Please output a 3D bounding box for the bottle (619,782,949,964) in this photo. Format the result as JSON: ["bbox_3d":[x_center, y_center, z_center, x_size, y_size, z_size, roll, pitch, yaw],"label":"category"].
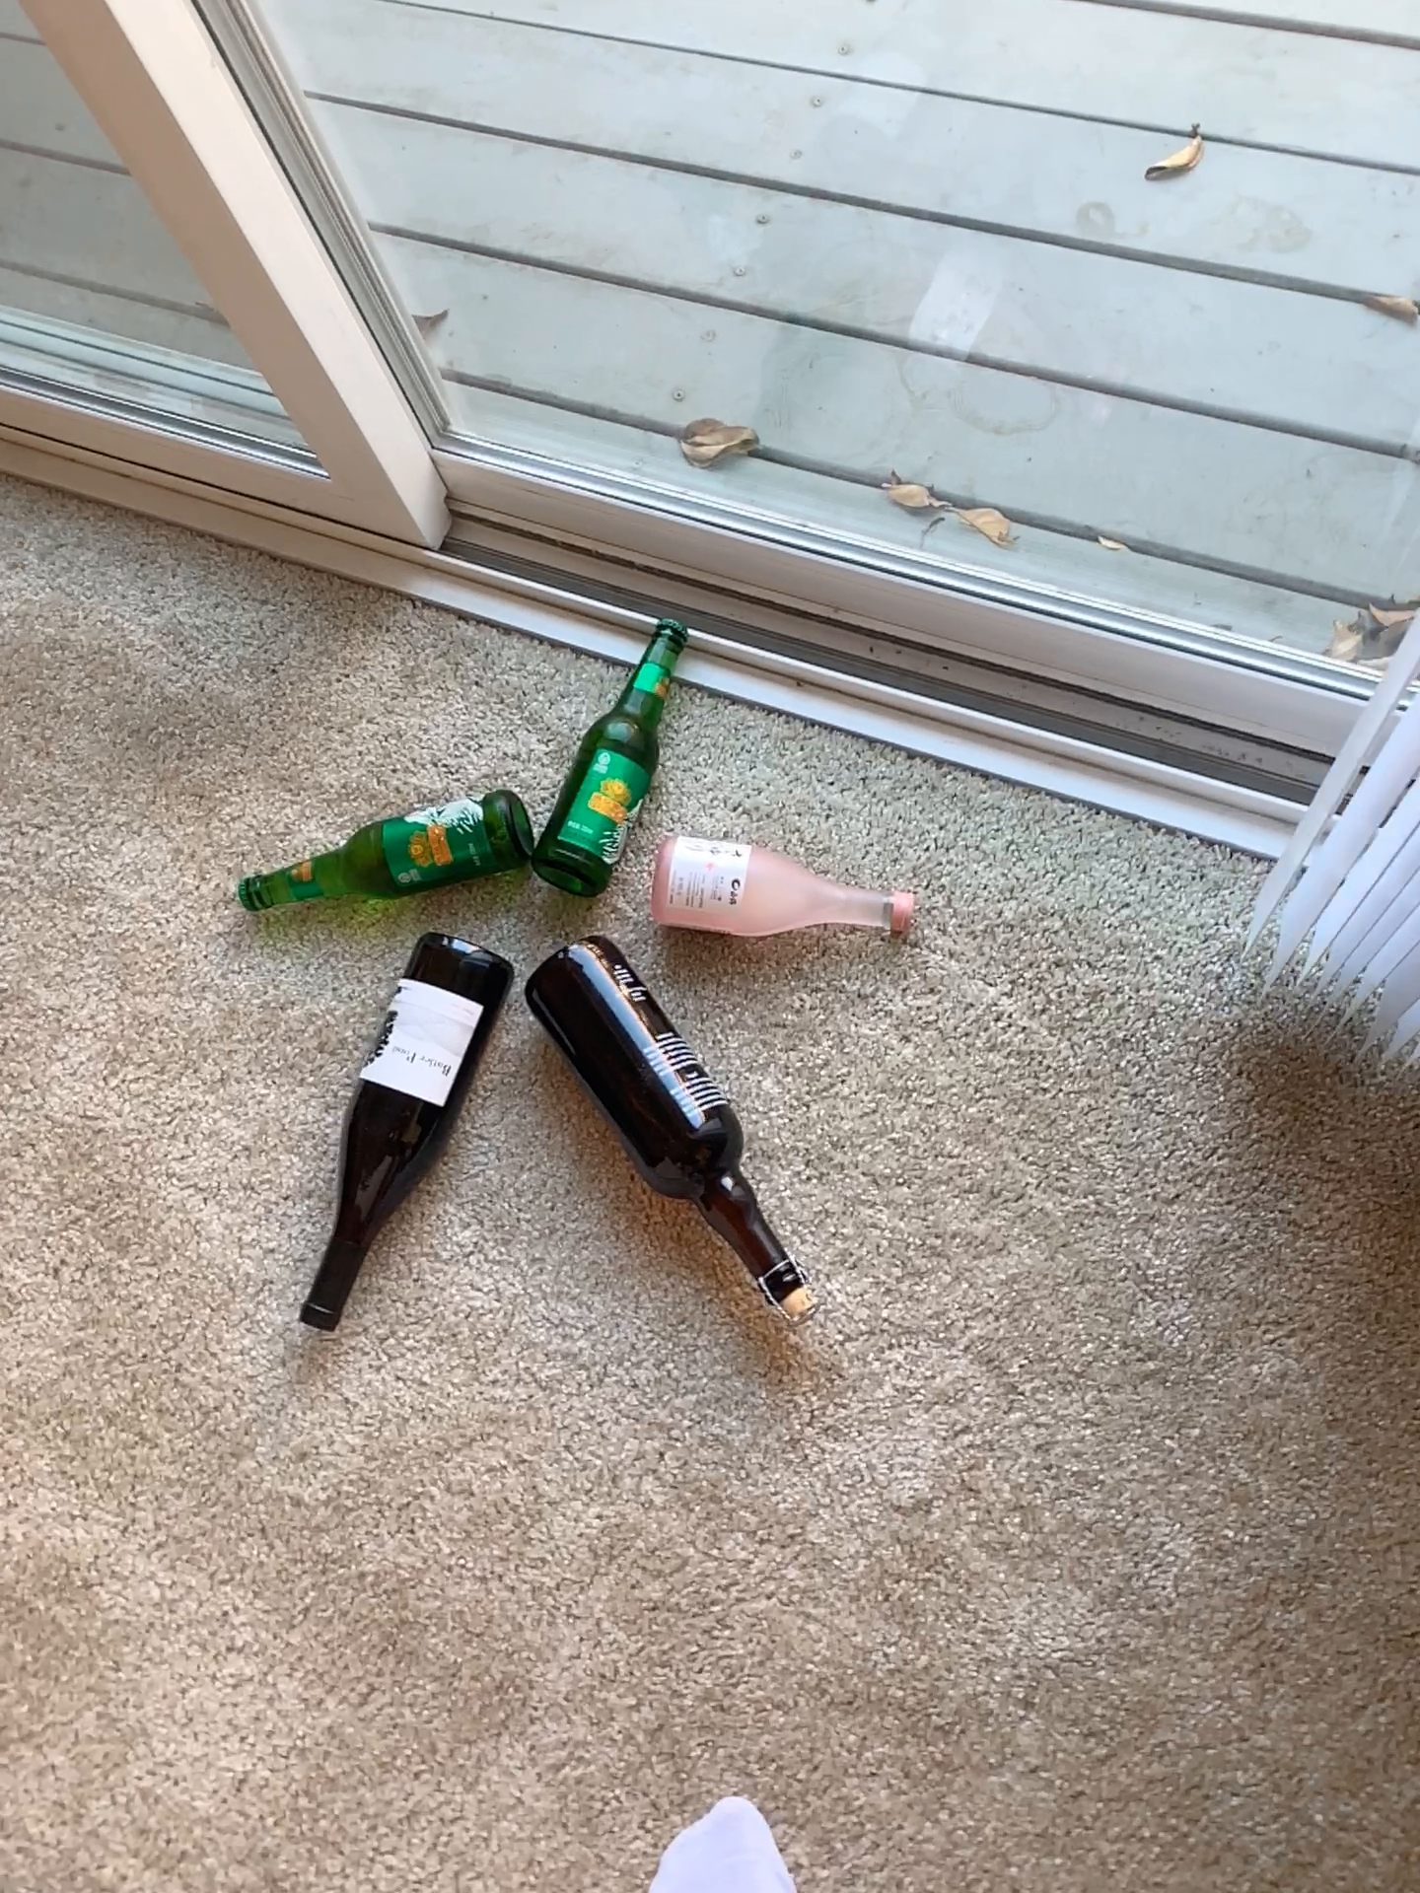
[{"bbox_3d":[0.055,-0.051,1.021,0.210,0.090,0.080,7,72,15],"label":"bottle"}]

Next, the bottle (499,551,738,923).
[{"bbox_3d":[-0.063,-0.156,1.084,0.080,0.090,0.250,16,77,15],"label":"bottle"}]

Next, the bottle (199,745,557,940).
[{"bbox_3d":[-0.245,-0.075,1.082,0.240,0.090,0.070,-11,69,4],"label":"bottle"}]

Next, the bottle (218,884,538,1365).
[{"bbox_3d":[-0.222,0.121,1.009,0.080,0.090,0.310,15,72,15],"label":"bottle"}]

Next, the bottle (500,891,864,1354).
[{"bbox_3d":[-0.022,0.116,0.983,0.080,0.090,0.311,-34,66,-3],"label":"bottle"}]
